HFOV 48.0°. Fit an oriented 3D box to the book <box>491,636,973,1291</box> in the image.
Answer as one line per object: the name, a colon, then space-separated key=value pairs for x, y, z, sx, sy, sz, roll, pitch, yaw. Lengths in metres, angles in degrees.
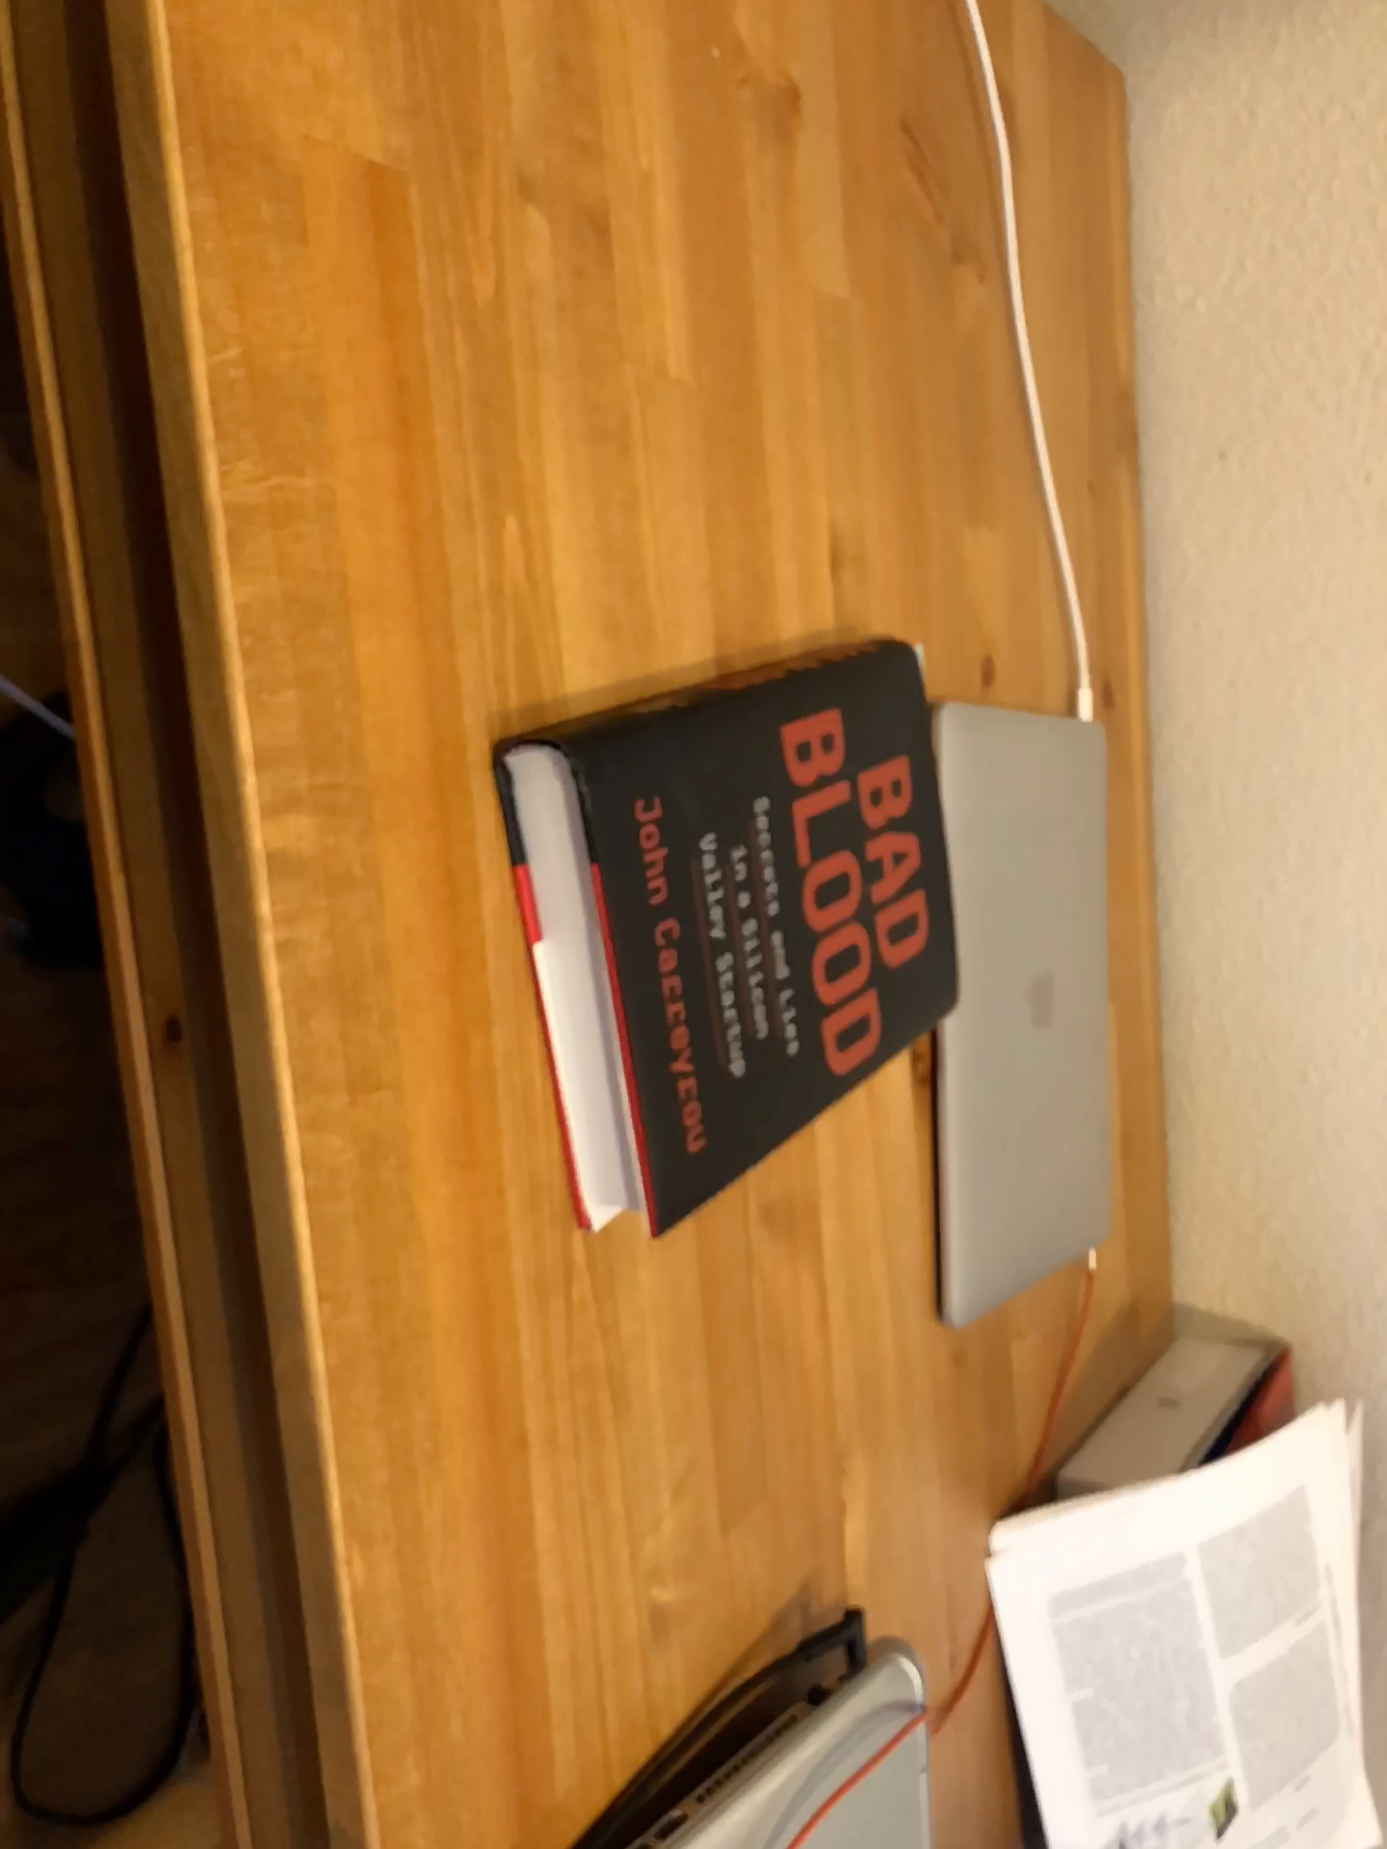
book: x=0.032 y=-0.002 z=0.589 sx=0.251 sy=0.030 sz=0.179 roll=-27 pitch=112 yaw=-53
